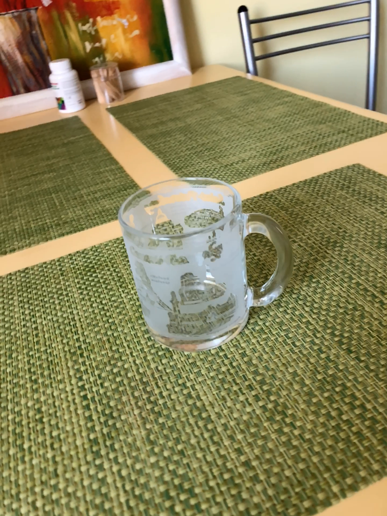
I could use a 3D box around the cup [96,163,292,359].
[{"bbox_3d":[0.007,0.001,0.298,0.109,0.096,0.088,-4,34,6],"label":"cup"}]
